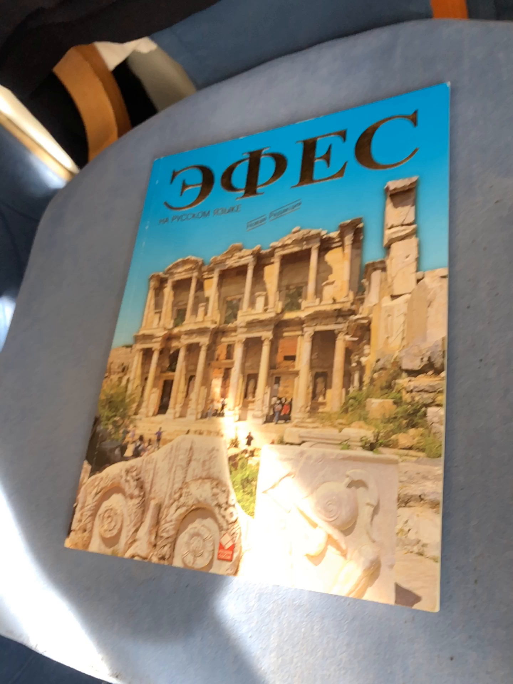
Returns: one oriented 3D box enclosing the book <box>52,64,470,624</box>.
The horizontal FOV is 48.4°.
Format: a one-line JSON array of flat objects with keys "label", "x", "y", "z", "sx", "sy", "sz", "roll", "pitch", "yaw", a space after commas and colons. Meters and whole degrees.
[{"label": "book", "x": 0.002, "y": -0.010, "z": 0.287, "sx": 0.197, "sy": 0.020, "sz": 0.241, "roll": -3, "pitch": 69, "yaw": 29}]
